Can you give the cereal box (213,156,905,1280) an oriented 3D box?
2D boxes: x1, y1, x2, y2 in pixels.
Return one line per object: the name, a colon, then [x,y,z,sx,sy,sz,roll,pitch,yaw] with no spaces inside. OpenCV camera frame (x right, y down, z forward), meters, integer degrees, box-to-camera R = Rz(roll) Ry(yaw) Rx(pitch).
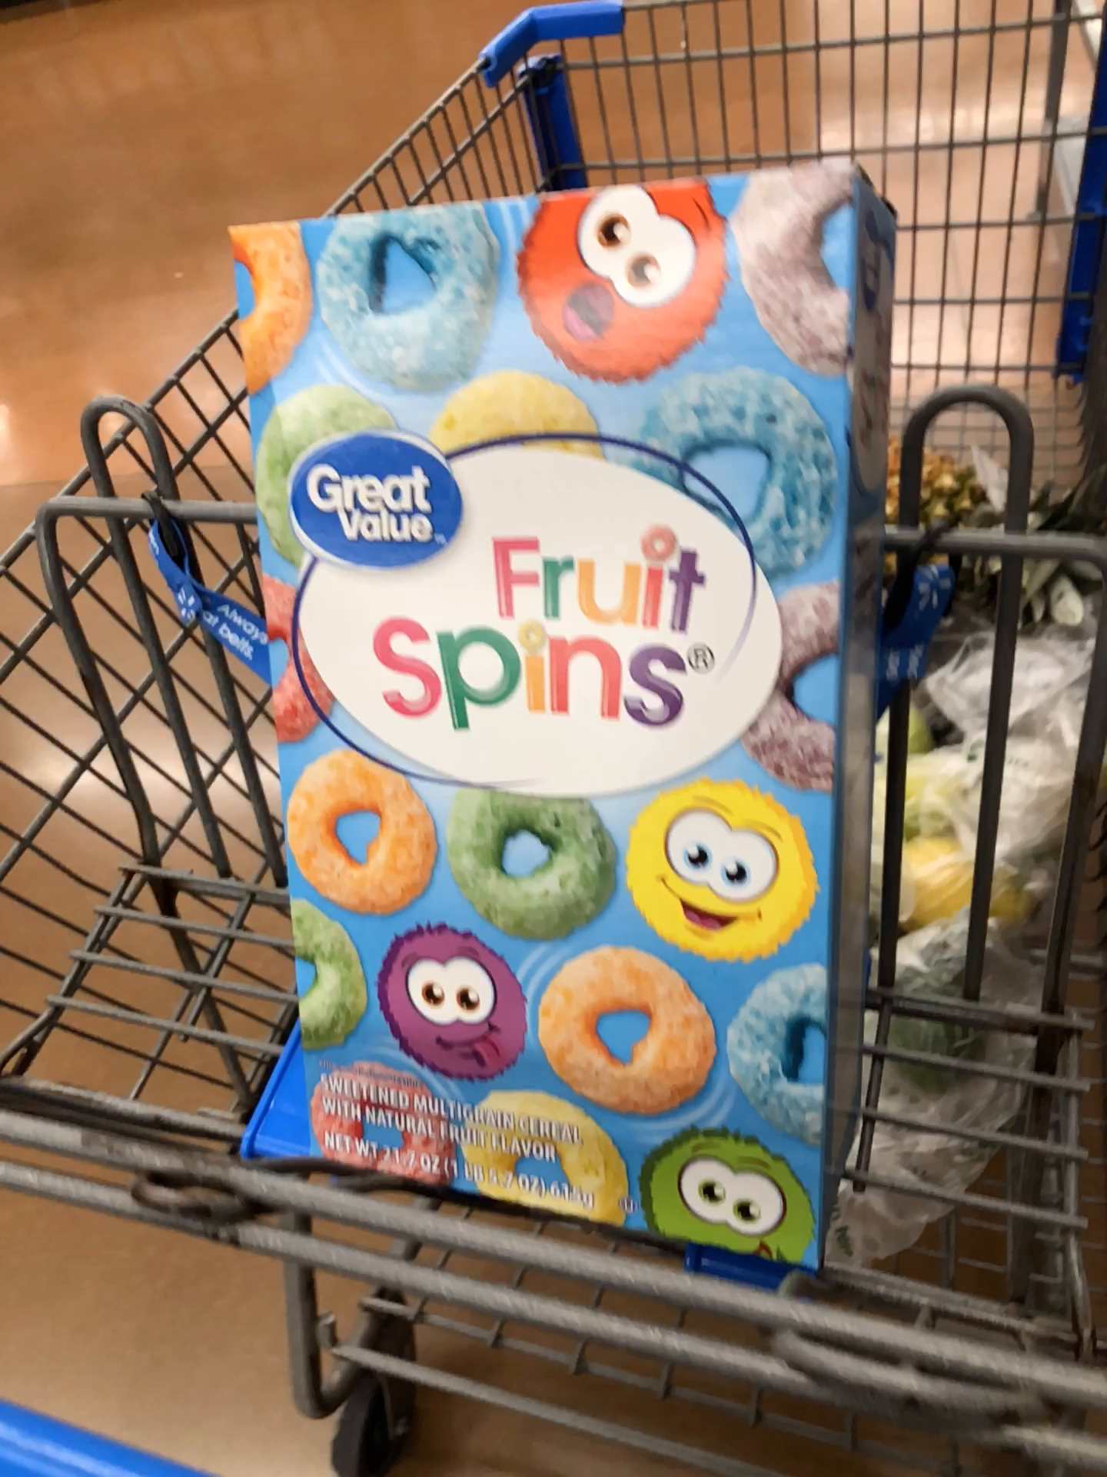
cereal box: [0.007,-0.004,0.433,0.200,0.340,0.090,5,17,20]
